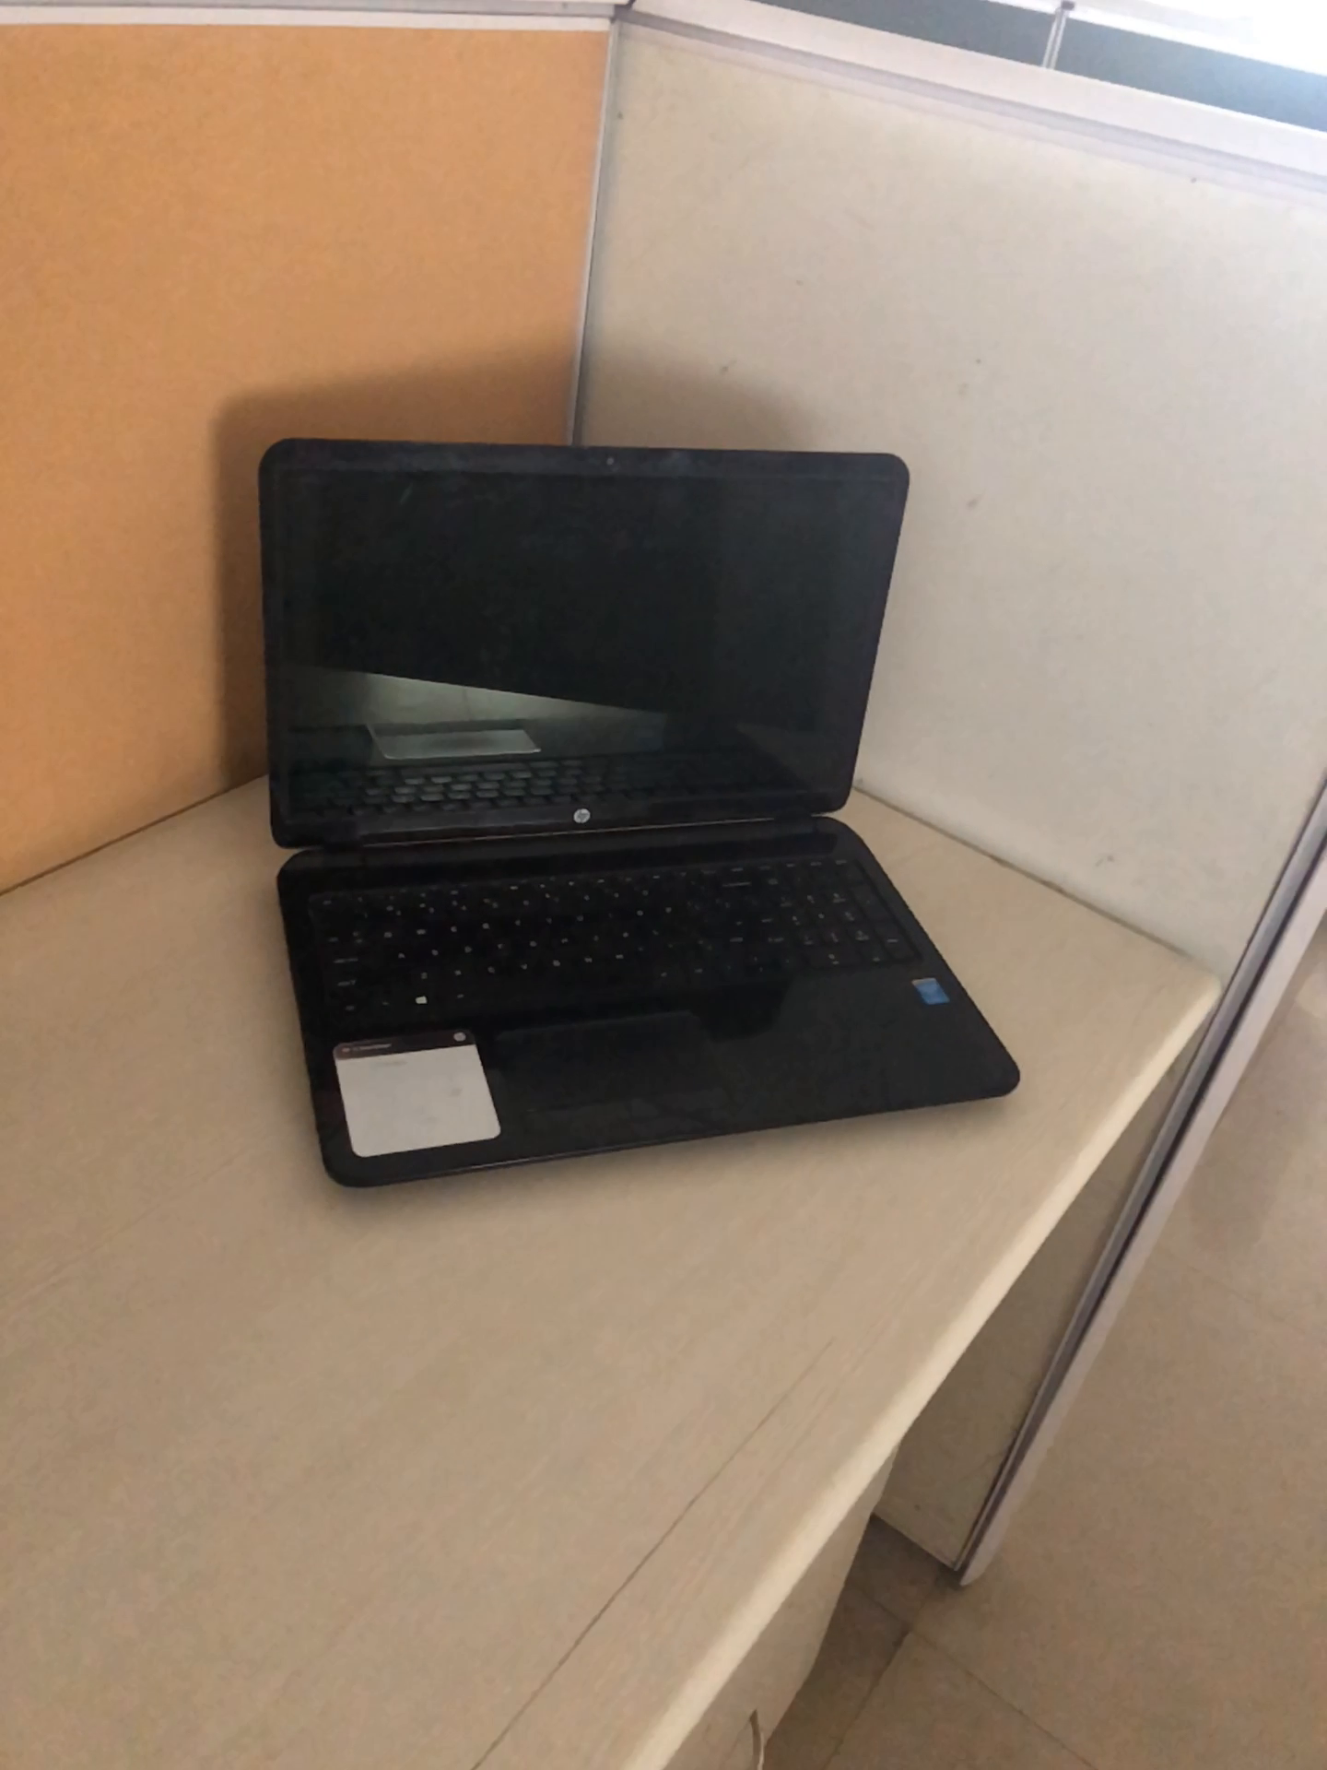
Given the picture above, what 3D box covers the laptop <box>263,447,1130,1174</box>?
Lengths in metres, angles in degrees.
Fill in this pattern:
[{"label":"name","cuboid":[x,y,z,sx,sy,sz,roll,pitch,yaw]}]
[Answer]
[{"label":"laptop","cuboid":[-0.010,-0.057,0.748,0.351,0.225,0.266,-5,39,-19]}]
